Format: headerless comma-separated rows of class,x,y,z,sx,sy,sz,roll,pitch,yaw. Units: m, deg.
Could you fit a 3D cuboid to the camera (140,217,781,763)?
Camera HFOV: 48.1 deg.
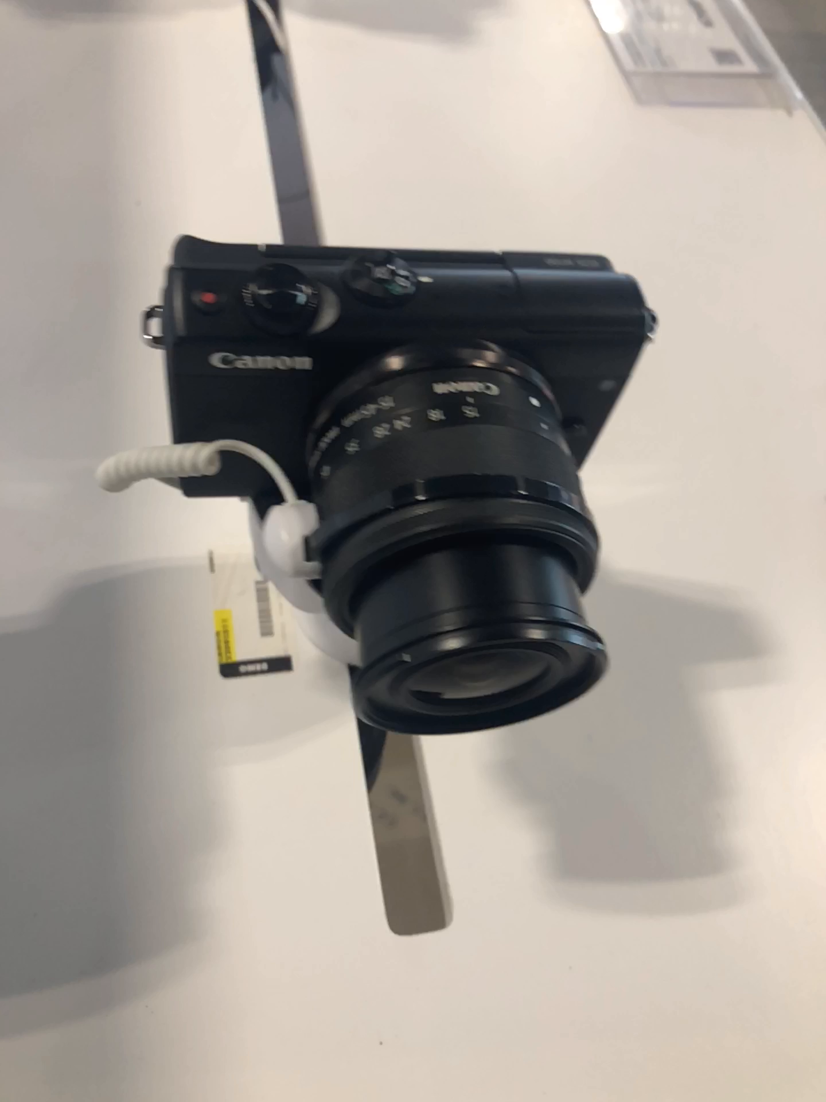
camera,0.001,-0.013,0.207,0.110,0.072,0.091,-2,59,-11
